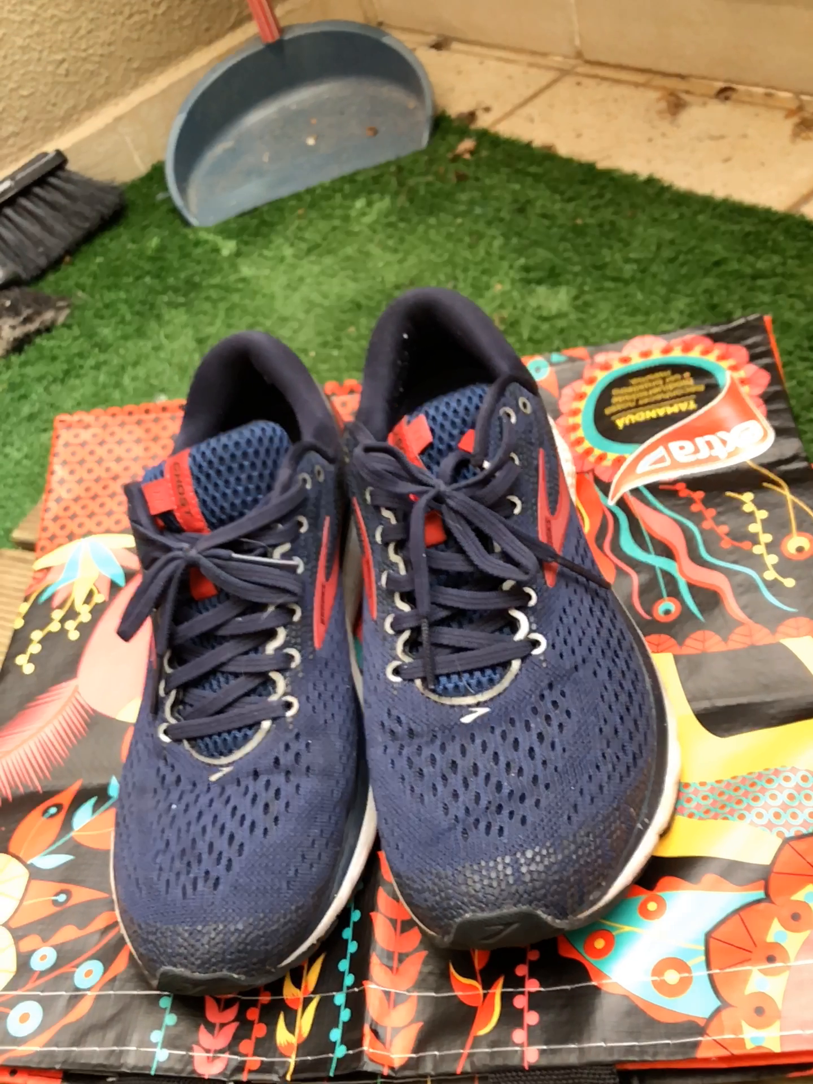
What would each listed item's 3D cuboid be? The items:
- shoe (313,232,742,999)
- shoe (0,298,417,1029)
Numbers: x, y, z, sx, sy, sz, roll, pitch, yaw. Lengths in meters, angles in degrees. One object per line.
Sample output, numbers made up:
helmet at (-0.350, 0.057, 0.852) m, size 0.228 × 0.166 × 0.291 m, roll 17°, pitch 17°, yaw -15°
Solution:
shoe at (0.033, 0.008, 0.342) m, size 0.100 × 0.099 × 0.266 m, roll -14°, pitch 46°, yaw 11°
shoe at (-0.065, 0.031, 0.365) m, size 0.107 × 0.099 × 0.266 m, roll -13°, pitch 46°, yaw 12°
